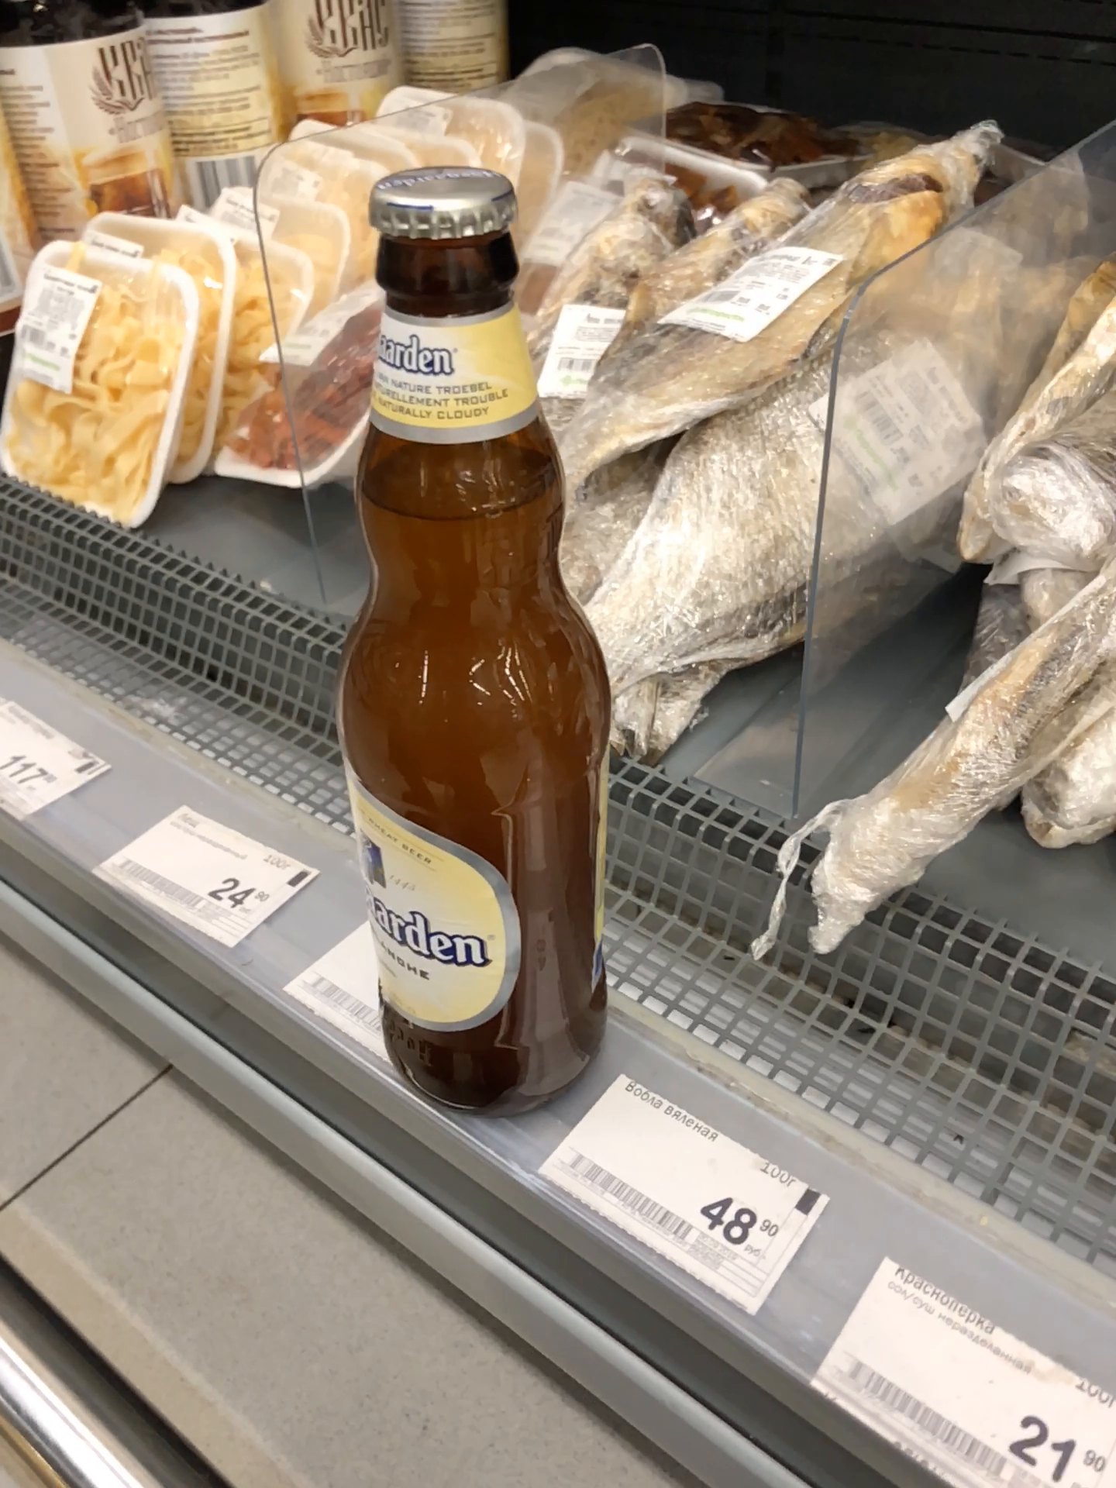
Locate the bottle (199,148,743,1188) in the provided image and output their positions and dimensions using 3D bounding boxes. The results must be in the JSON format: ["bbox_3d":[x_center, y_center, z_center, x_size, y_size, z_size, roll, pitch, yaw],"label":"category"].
[{"bbox_3d":[-0.013,-0.004,0.290,0.070,0.229,0.070,-1,39,1],"label":"bottle"}]
